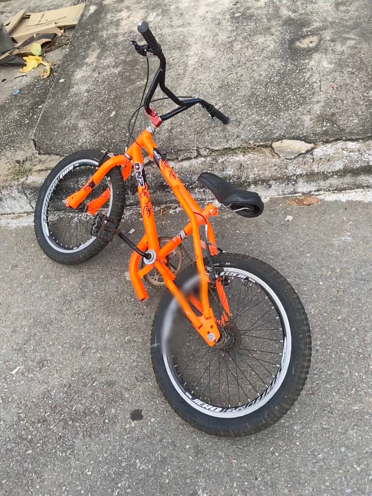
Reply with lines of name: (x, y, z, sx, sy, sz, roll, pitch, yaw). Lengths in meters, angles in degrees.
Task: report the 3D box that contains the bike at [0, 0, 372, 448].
bike: (0.053, -0.268, 1.273, 0.746, 0.858, 1.358, -36, 53, -17)
